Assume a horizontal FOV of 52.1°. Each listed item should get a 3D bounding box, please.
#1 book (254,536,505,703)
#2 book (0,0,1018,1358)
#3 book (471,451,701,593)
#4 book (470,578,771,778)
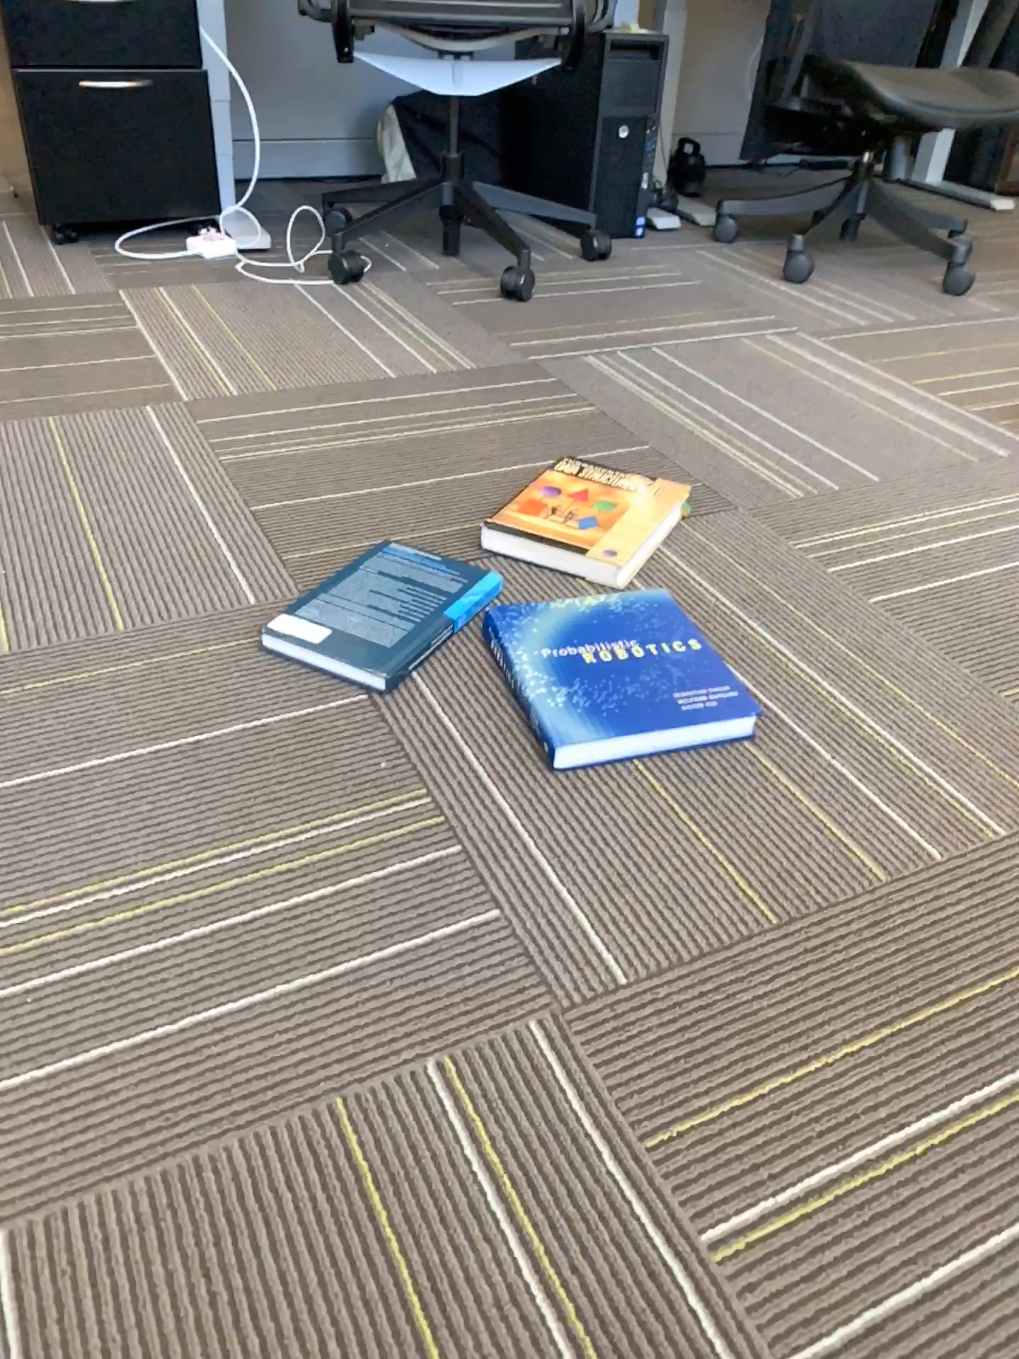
[{"bbox_3d":[-0.131,-0.071,1.103,0.160,0.030,0.231,20,38,21],"label":"book"},{"bbox_3d":[0.102,-0.207,1.311,0.031,1.491,6.526,19,38,20],"label":"book"},{"bbox_3d":[0.102,-0.207,1.311,0.200,0.030,0.261,19,38,20],"label":"book"},{"bbox_3d":[0.098,-0.013,1.025,0.210,0.030,0.252,-8,37,-17],"label":"book"}]
